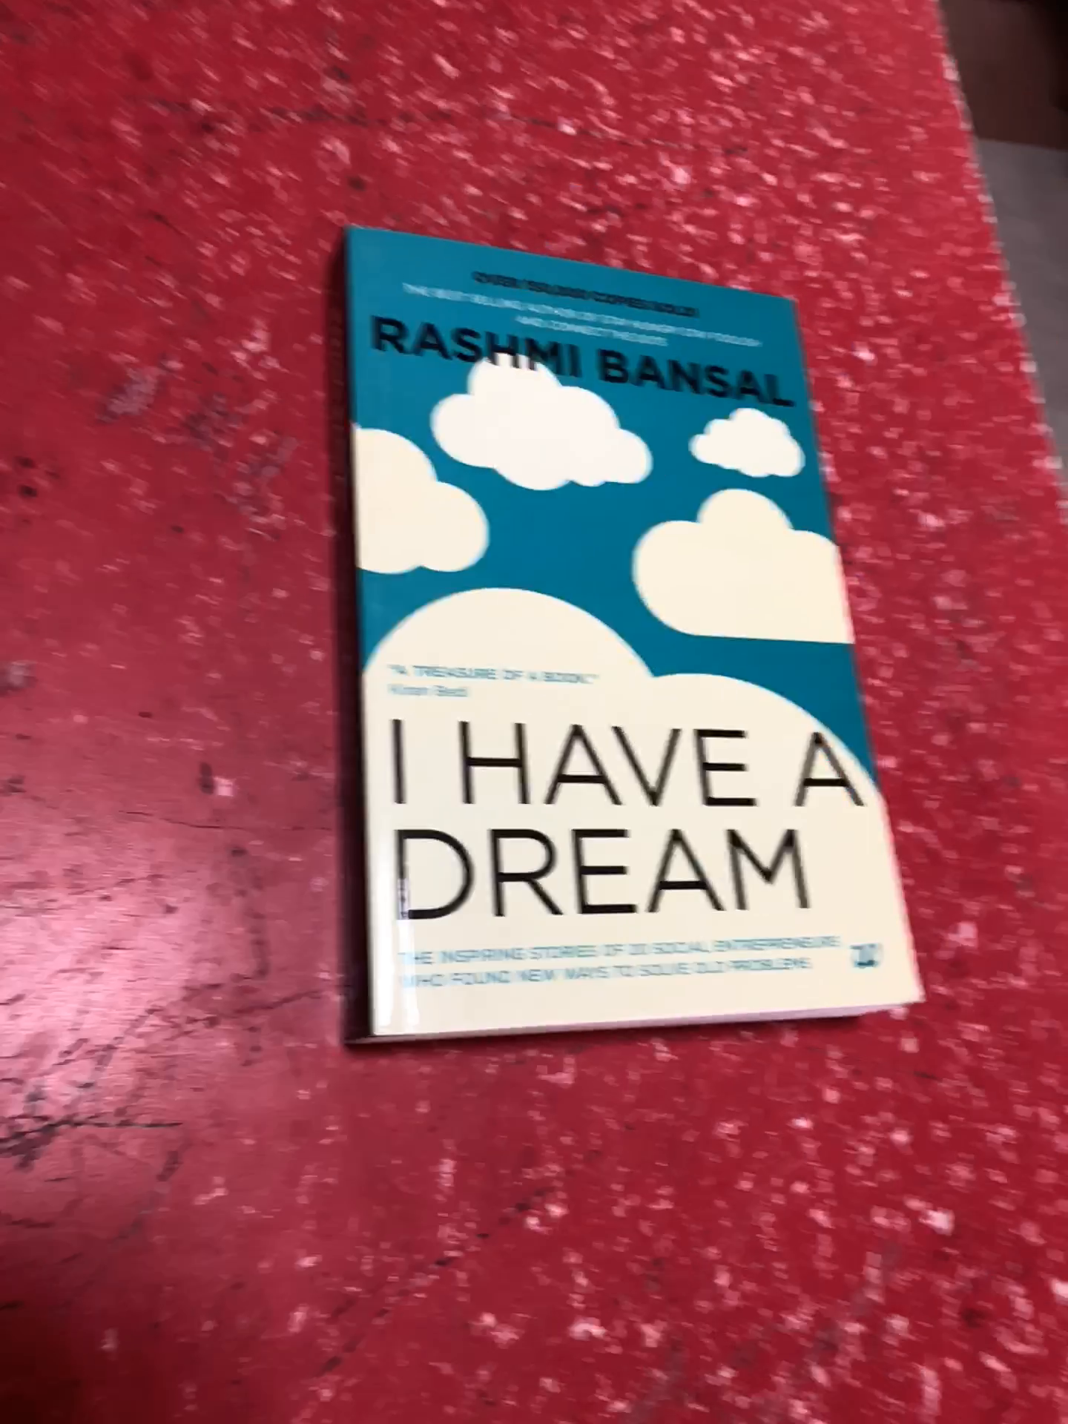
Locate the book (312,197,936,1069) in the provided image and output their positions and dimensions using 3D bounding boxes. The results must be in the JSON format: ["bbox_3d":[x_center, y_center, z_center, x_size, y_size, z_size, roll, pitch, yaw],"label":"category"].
[{"bbox_3d":[0.016,-0.023,0.292,0.130,0.030,0.200,2,71,-20],"label":"book"}]
